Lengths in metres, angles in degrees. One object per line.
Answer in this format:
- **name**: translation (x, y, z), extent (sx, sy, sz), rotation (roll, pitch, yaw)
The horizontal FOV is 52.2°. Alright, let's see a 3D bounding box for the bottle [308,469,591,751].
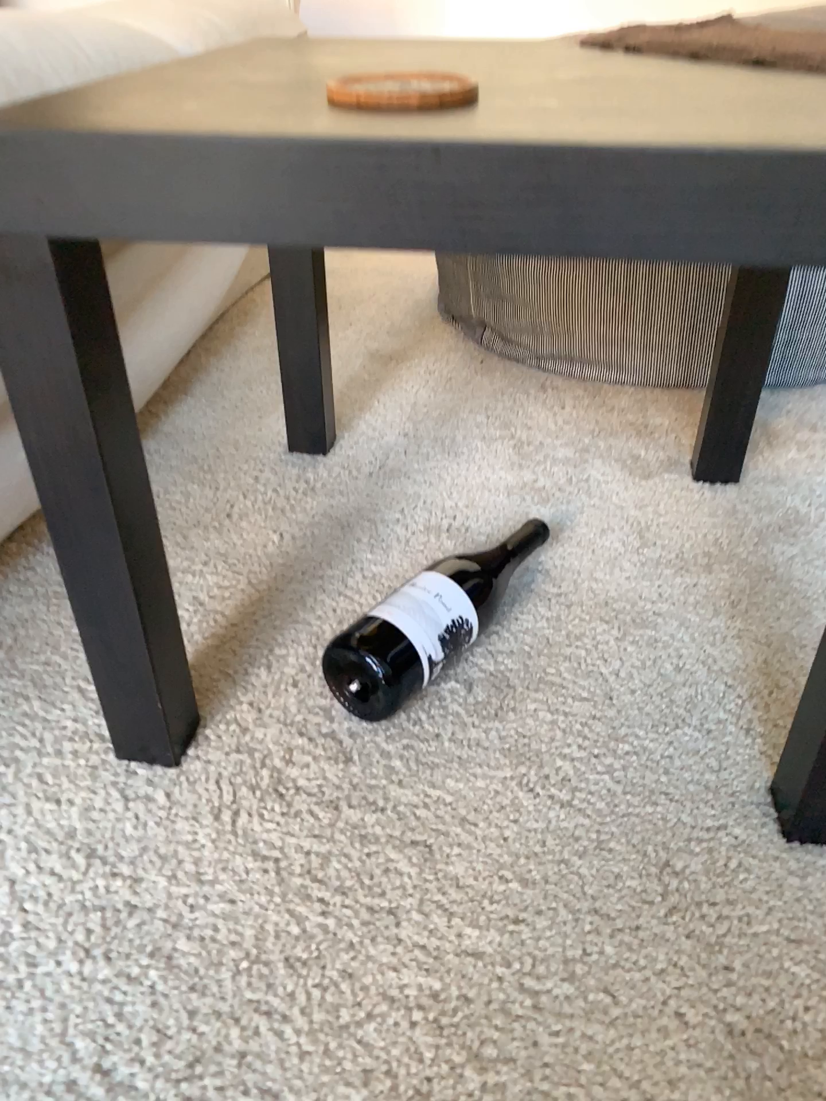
- **bottle**: translation (0.039, 0.040, 0.735), extent (0.080, 0.080, 0.281), rotation (38, 50, 16)
